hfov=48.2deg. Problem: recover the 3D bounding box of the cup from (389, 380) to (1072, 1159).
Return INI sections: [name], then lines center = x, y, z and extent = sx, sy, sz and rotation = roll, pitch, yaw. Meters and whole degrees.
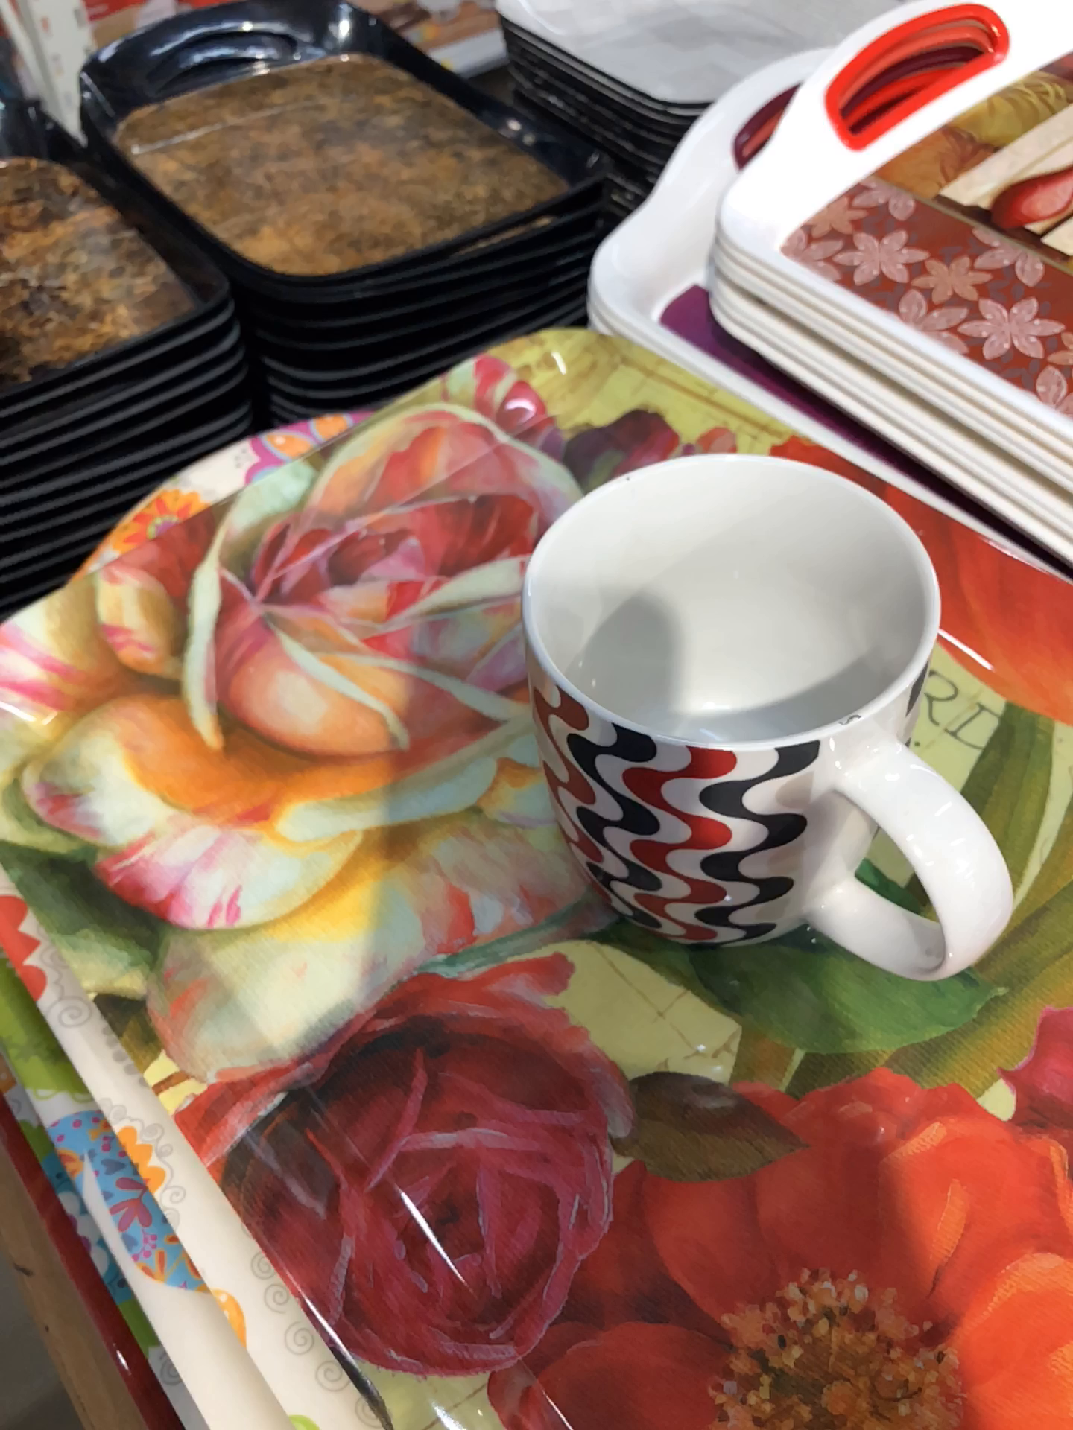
[cup]
center = 0.047, 0.005, 0.267
extent = 0.090, 0.080, 0.130
rotation = -35, 57, -24
